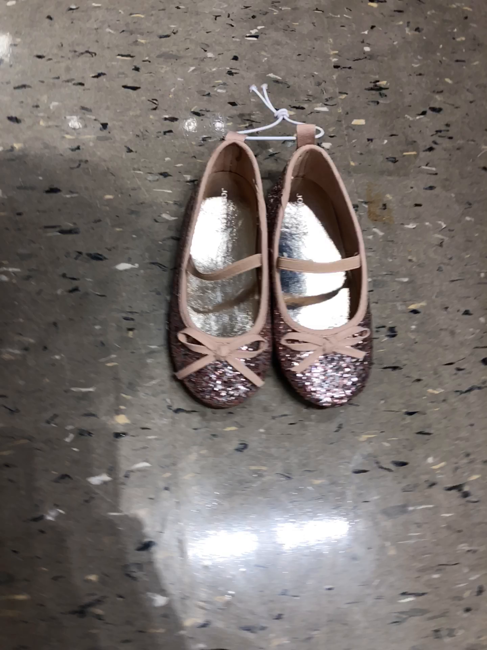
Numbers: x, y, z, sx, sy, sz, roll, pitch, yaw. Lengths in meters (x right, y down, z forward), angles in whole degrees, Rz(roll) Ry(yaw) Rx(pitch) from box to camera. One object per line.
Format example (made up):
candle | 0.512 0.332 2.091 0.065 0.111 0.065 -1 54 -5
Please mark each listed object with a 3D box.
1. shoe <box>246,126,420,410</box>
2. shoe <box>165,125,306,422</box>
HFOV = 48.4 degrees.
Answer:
shoe | 0.048 -0.034 0.341 0.070 0.070 0.160 -2 72 -10
shoe | -0.009 -0.028 0.327 0.070 0.070 0.160 2 72 -8
